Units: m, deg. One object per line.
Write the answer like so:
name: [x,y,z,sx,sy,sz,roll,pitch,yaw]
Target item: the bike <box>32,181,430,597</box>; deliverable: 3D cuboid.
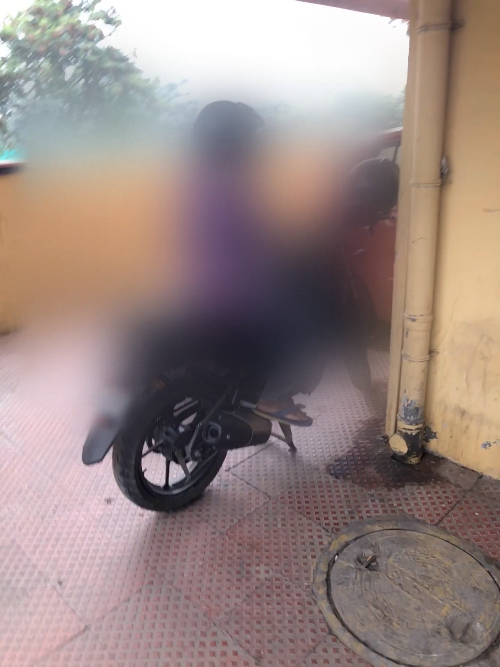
bike: [0.097,-0.021,2.683,0.854,1.156,1.911,13,26,35]
